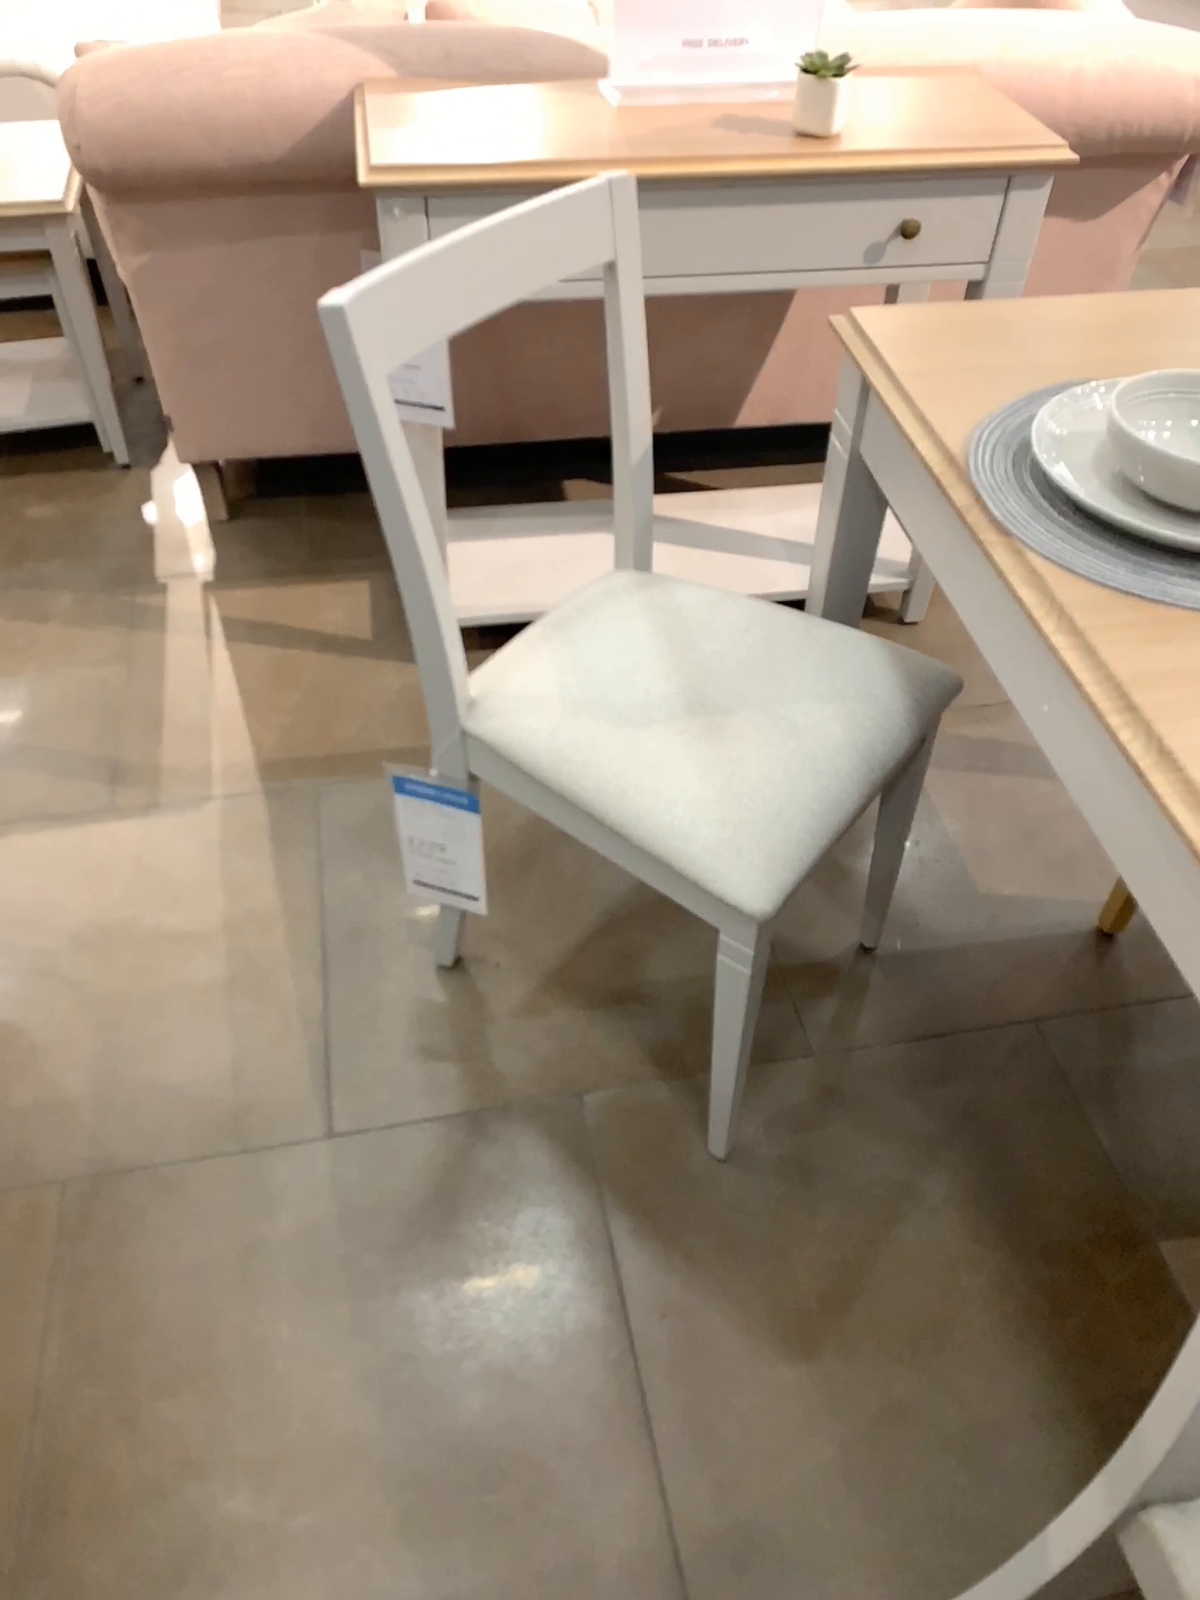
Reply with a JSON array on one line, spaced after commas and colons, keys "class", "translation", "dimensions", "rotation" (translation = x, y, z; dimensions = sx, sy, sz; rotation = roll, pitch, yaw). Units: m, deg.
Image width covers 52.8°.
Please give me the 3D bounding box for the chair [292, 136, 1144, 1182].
[{"class": "chair", "translation": [0.093, -0.126, 1.253], "dimensions": [0.509, 0.831, 0.464], "rotation": [30, 51, 26]}]
